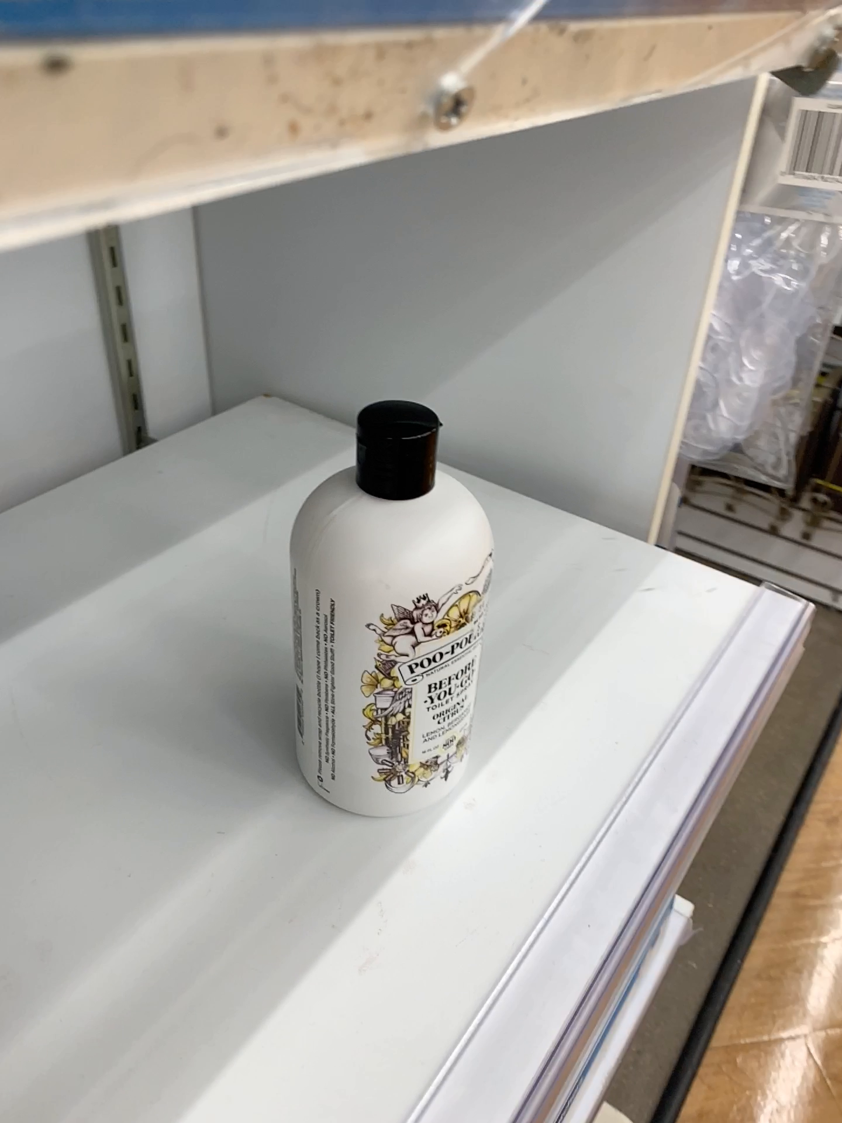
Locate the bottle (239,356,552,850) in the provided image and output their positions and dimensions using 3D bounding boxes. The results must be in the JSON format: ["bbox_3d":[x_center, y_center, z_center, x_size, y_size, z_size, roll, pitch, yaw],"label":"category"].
[{"bbox_3d":[-0.012,0.016,0.323,0.070,0.153,0.073,3,35,-2],"label":"bottle"}]
